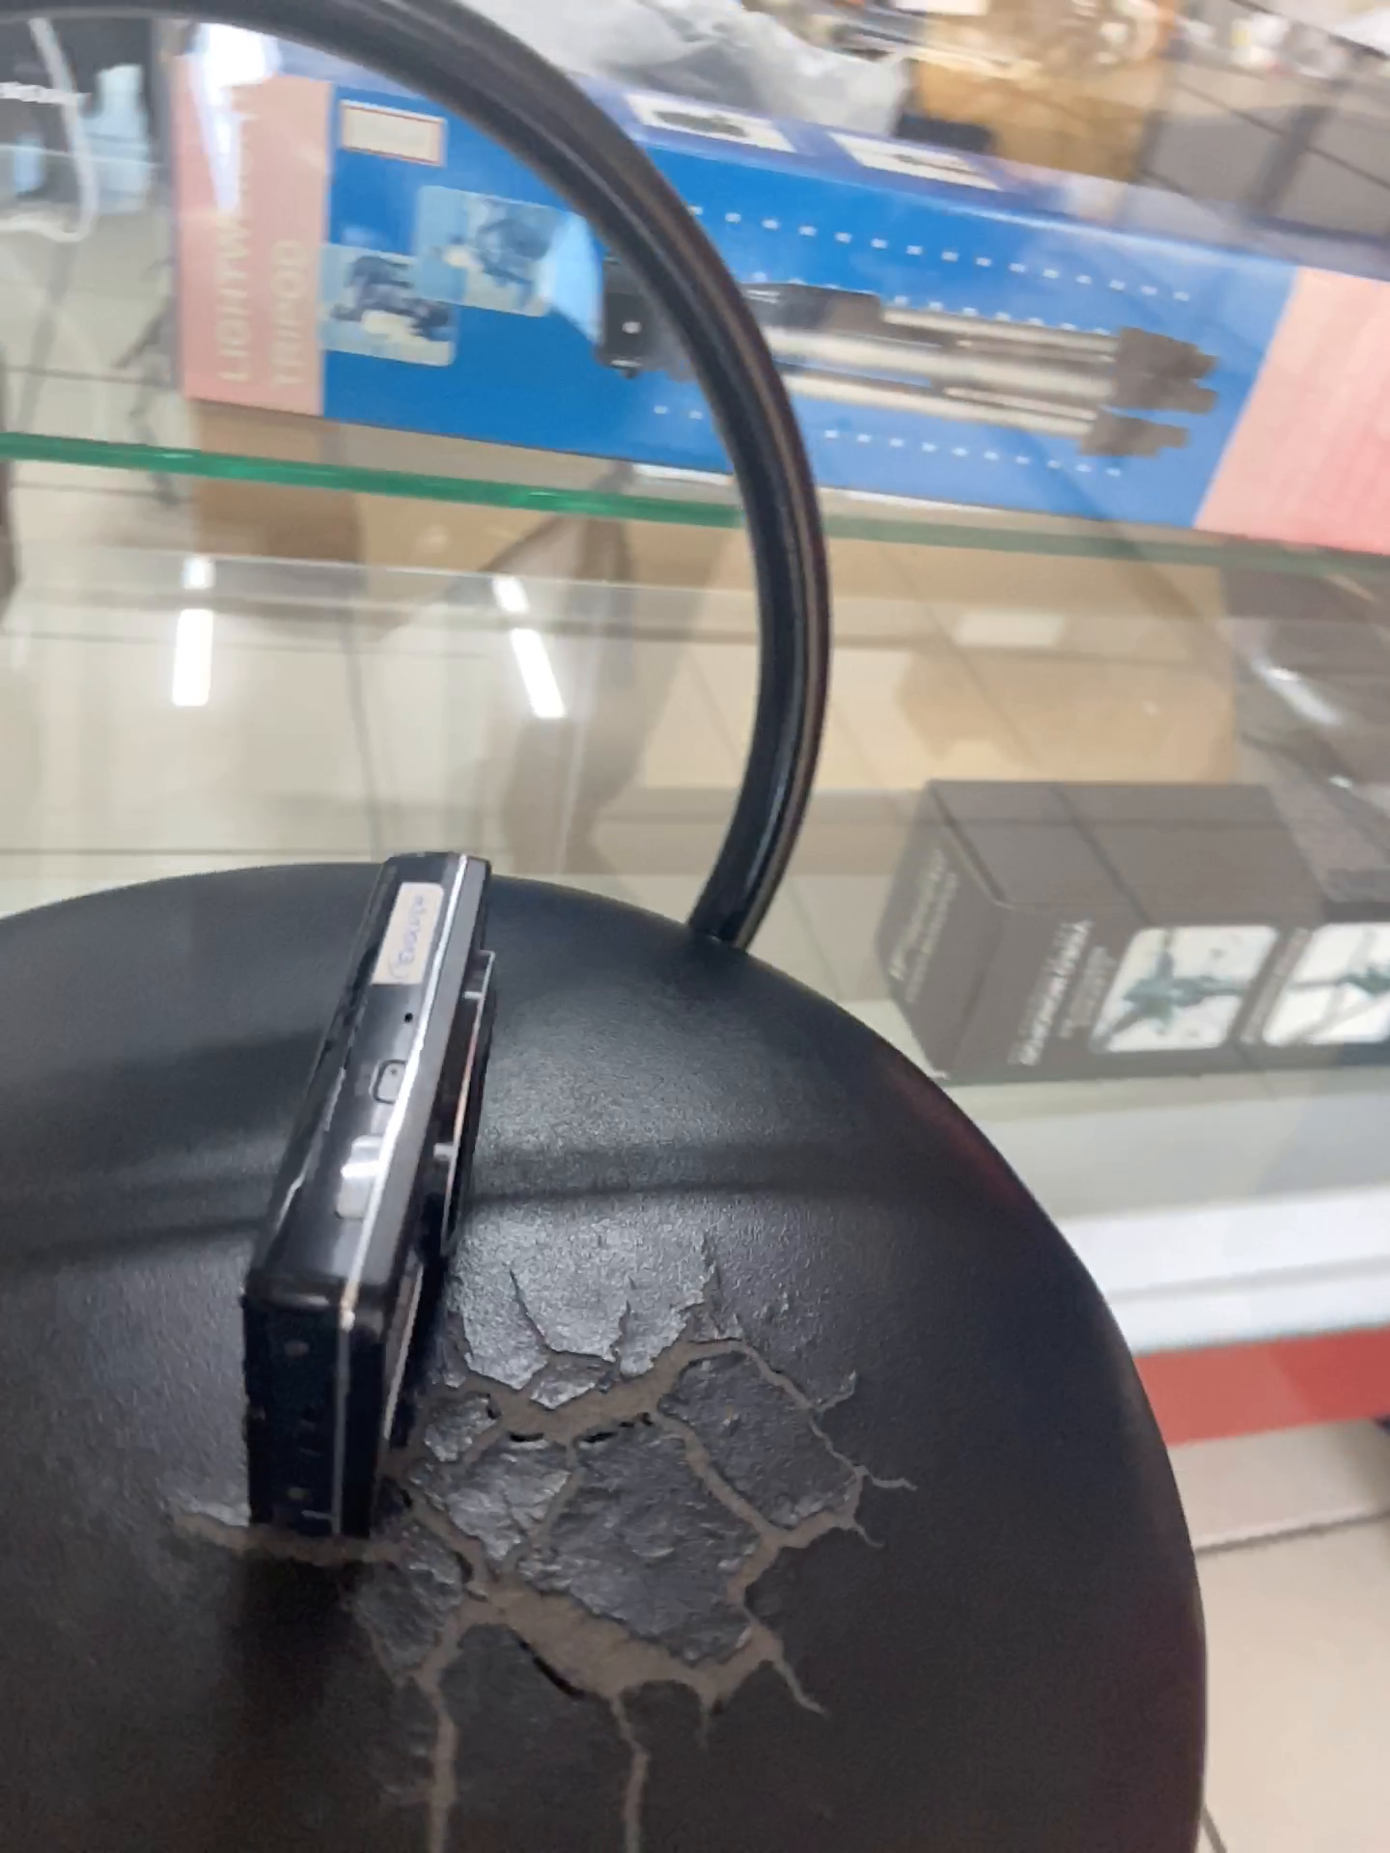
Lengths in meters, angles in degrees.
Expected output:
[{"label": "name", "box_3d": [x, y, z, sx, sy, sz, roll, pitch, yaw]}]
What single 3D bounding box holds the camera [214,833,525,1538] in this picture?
[{"label": "camera", "box_3d": [-0.048, 0.035, 0.225, 0.024, 0.051, 0.097, 10, 37, -4]}]
